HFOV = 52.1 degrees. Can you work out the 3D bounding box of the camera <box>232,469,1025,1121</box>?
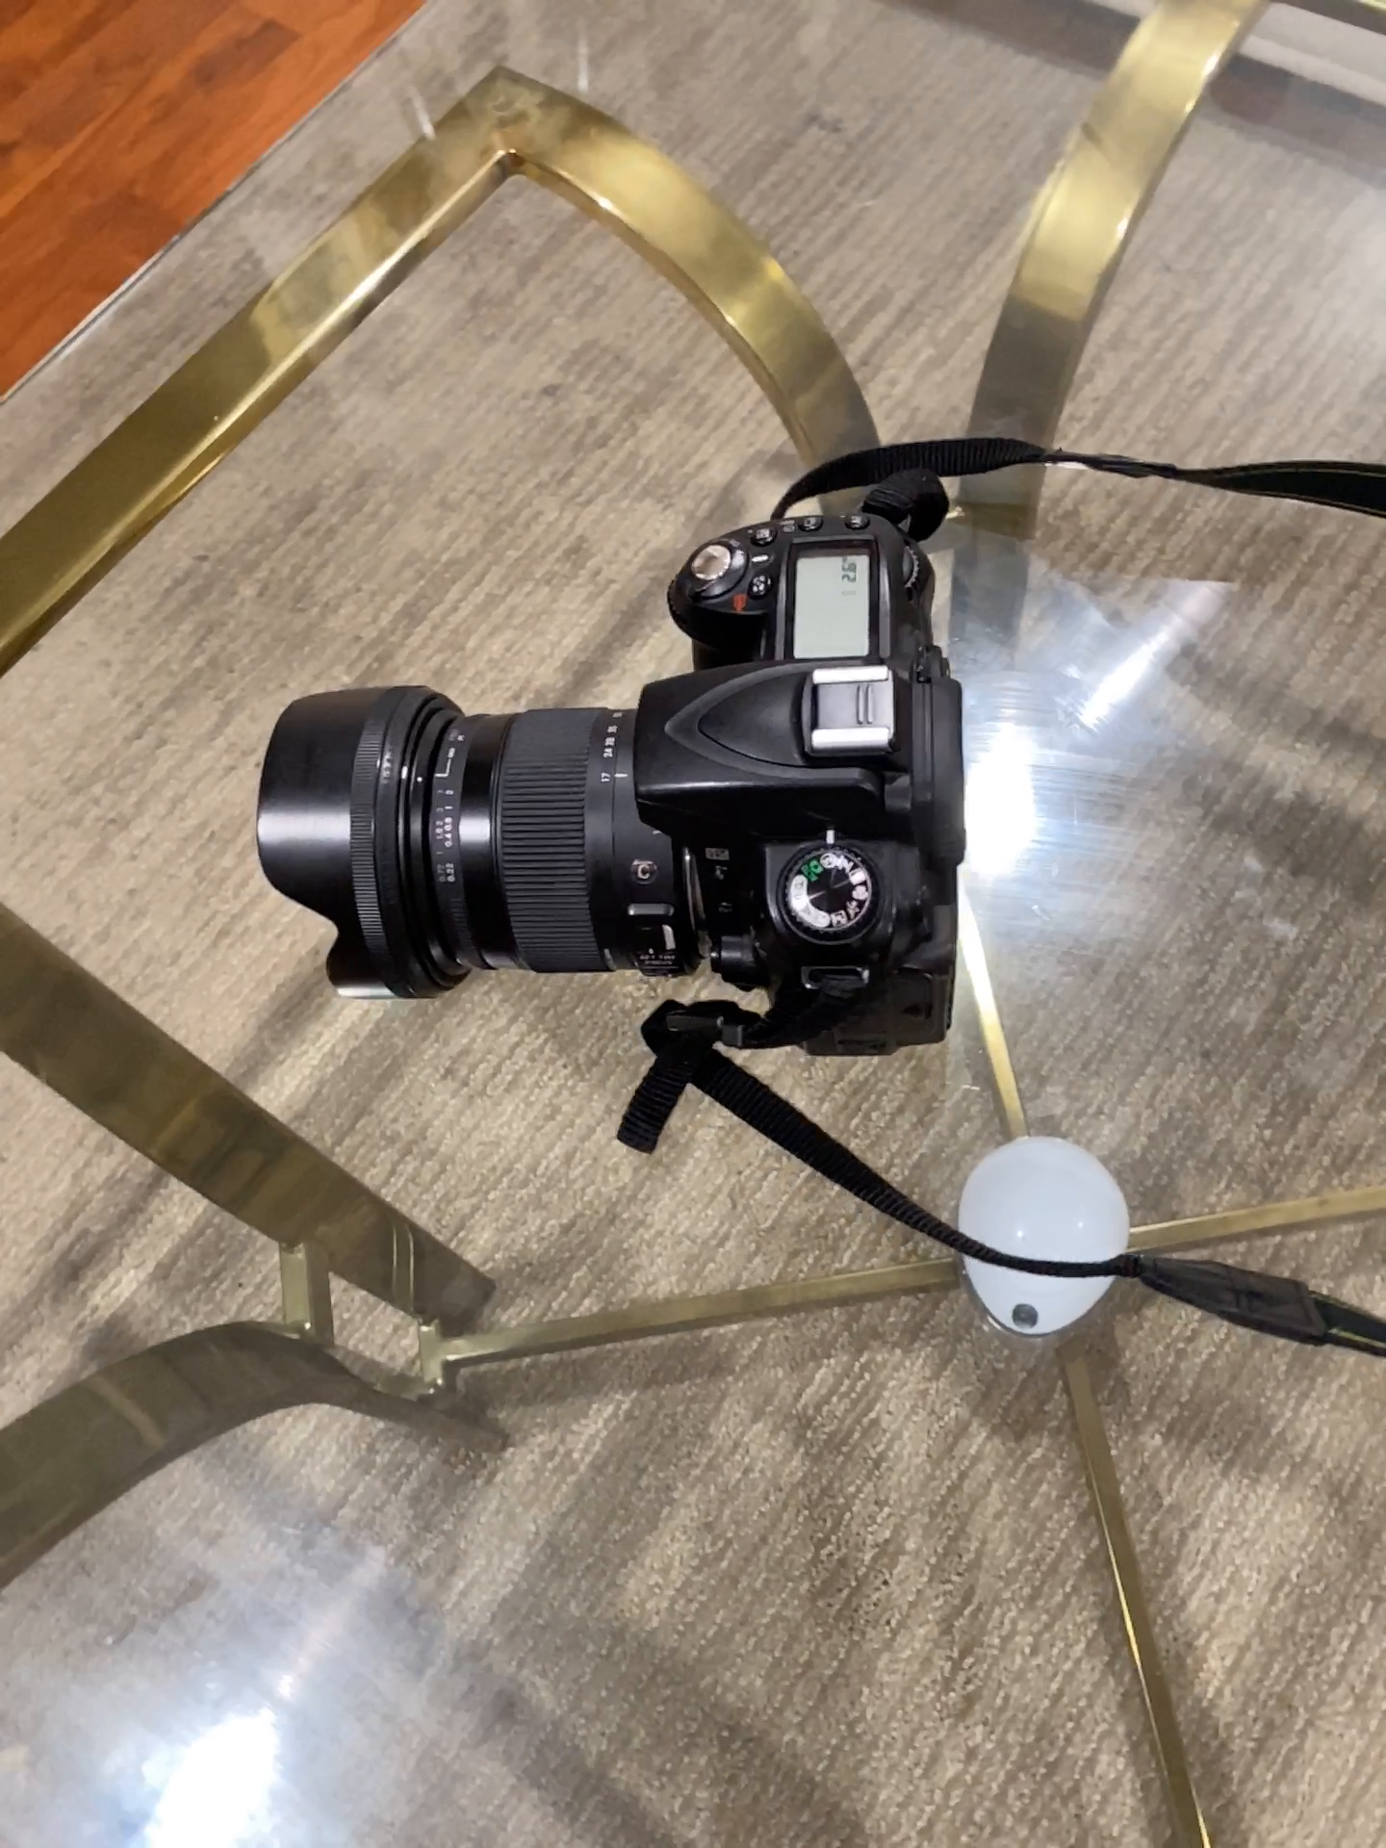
[{"bbox_3d":[-0.010,-0.028,0.399,0.180,0.120,0.130,-3,65,7],"label":"camera"}]
